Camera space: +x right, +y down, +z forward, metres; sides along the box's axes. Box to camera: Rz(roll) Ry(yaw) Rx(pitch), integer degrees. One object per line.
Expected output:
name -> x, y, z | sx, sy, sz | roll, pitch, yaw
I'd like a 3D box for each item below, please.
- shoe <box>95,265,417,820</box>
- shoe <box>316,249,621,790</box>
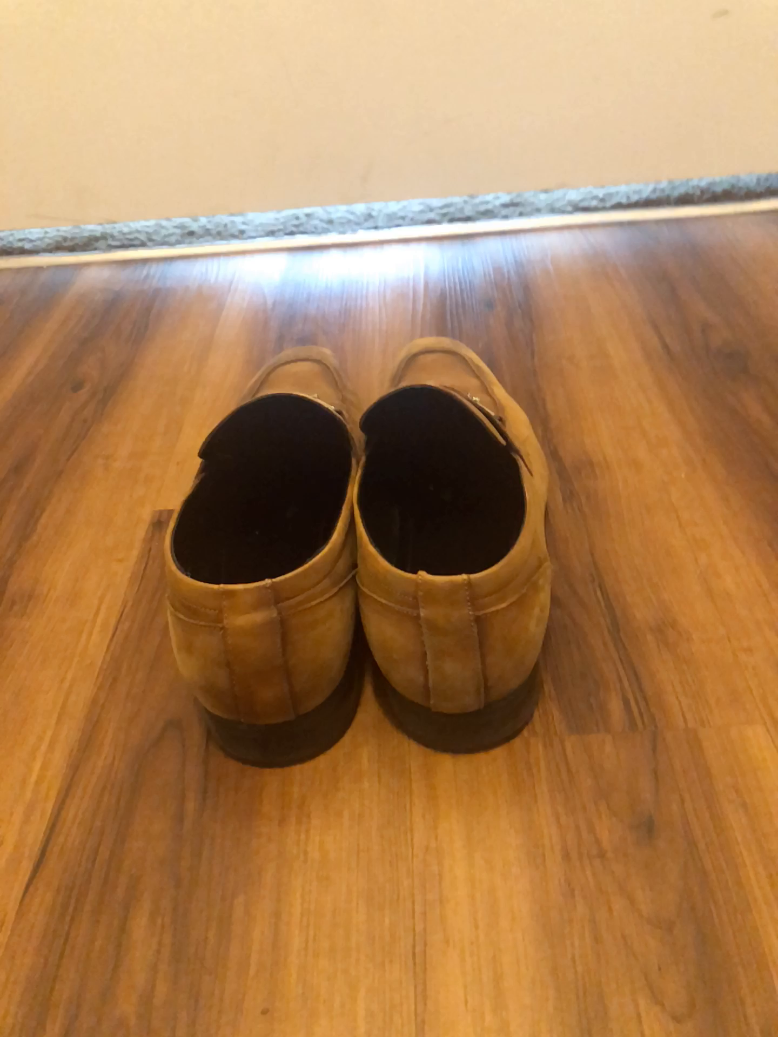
shoe -> -0.056, -0.015, 0.456 | 0.106, 0.112, 0.309 | -6, 39, 0
shoe -> 0.034, -0.025, 0.456 | 0.106, 0.112, 0.309 | -3, 39, 4
